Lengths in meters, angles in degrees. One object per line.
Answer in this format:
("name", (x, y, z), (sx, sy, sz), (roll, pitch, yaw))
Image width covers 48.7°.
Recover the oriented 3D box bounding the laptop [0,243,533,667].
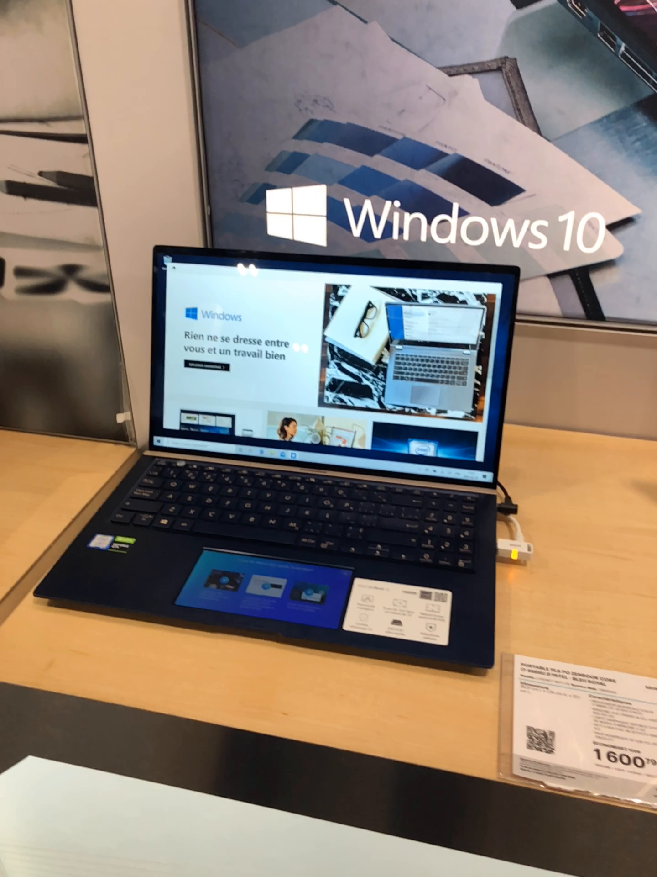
("laptop", (-0.027, -0.015, 0.587), (0.338, 0.183, 0.274), (6, 32, 10))
